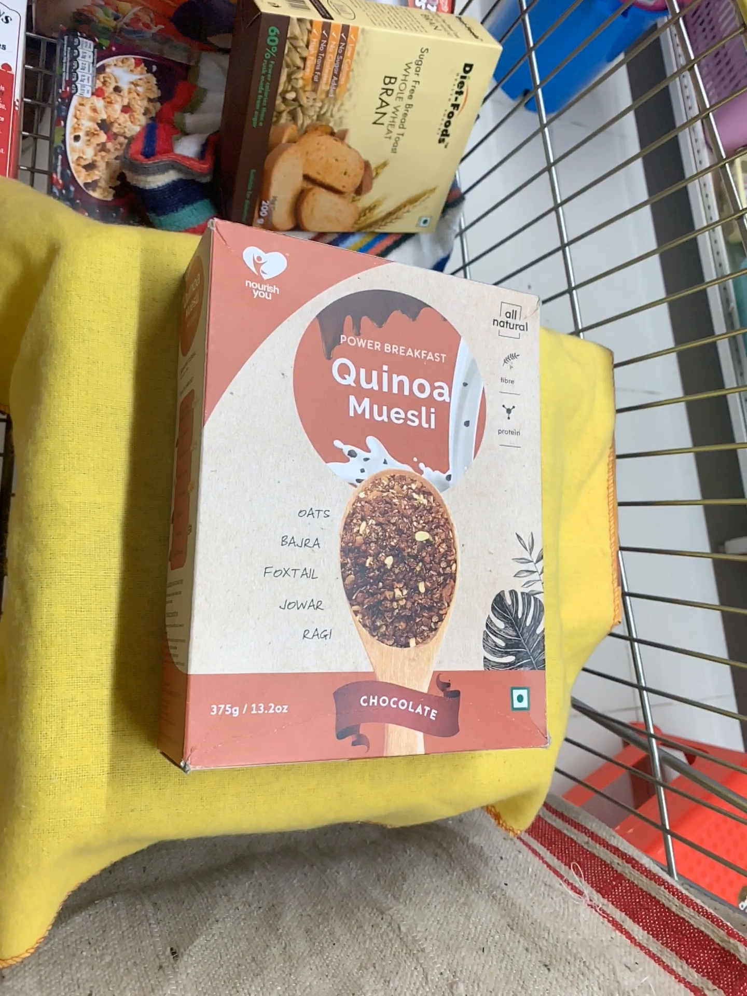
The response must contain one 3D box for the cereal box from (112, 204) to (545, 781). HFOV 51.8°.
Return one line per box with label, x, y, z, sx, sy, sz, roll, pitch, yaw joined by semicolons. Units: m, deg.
cereal box;-0.015;0.003;0.338;0.170;0.060;0.210;5;80;-24
